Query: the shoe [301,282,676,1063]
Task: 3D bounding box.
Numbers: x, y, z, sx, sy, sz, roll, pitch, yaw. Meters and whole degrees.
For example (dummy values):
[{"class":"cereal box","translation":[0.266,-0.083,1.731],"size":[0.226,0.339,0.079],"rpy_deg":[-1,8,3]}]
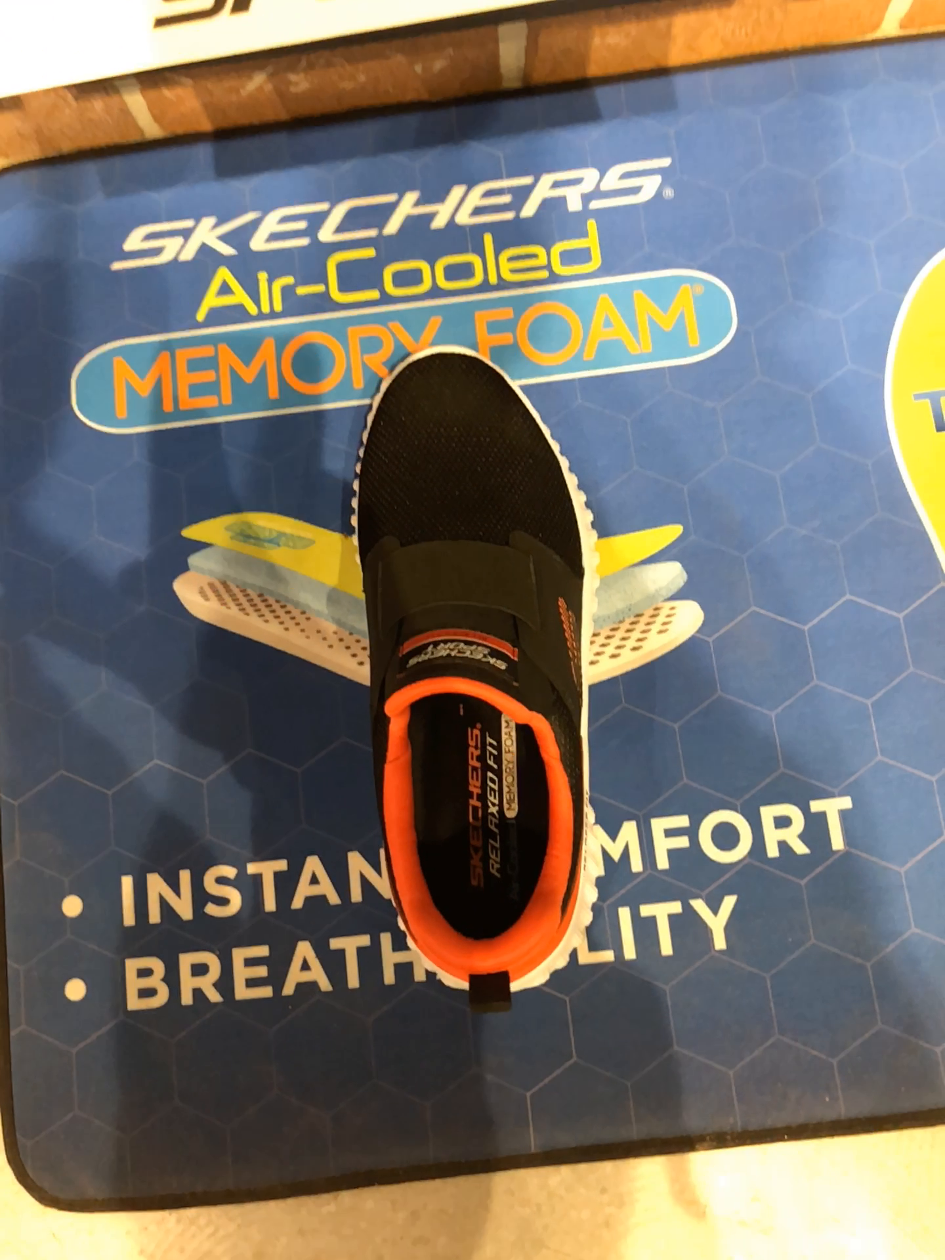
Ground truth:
[{"class":"shoe","translation":[0.004,0.018,0.443],"size":[0.116,0.136,0.276],"rpy_deg":[-4,79,2]}]
